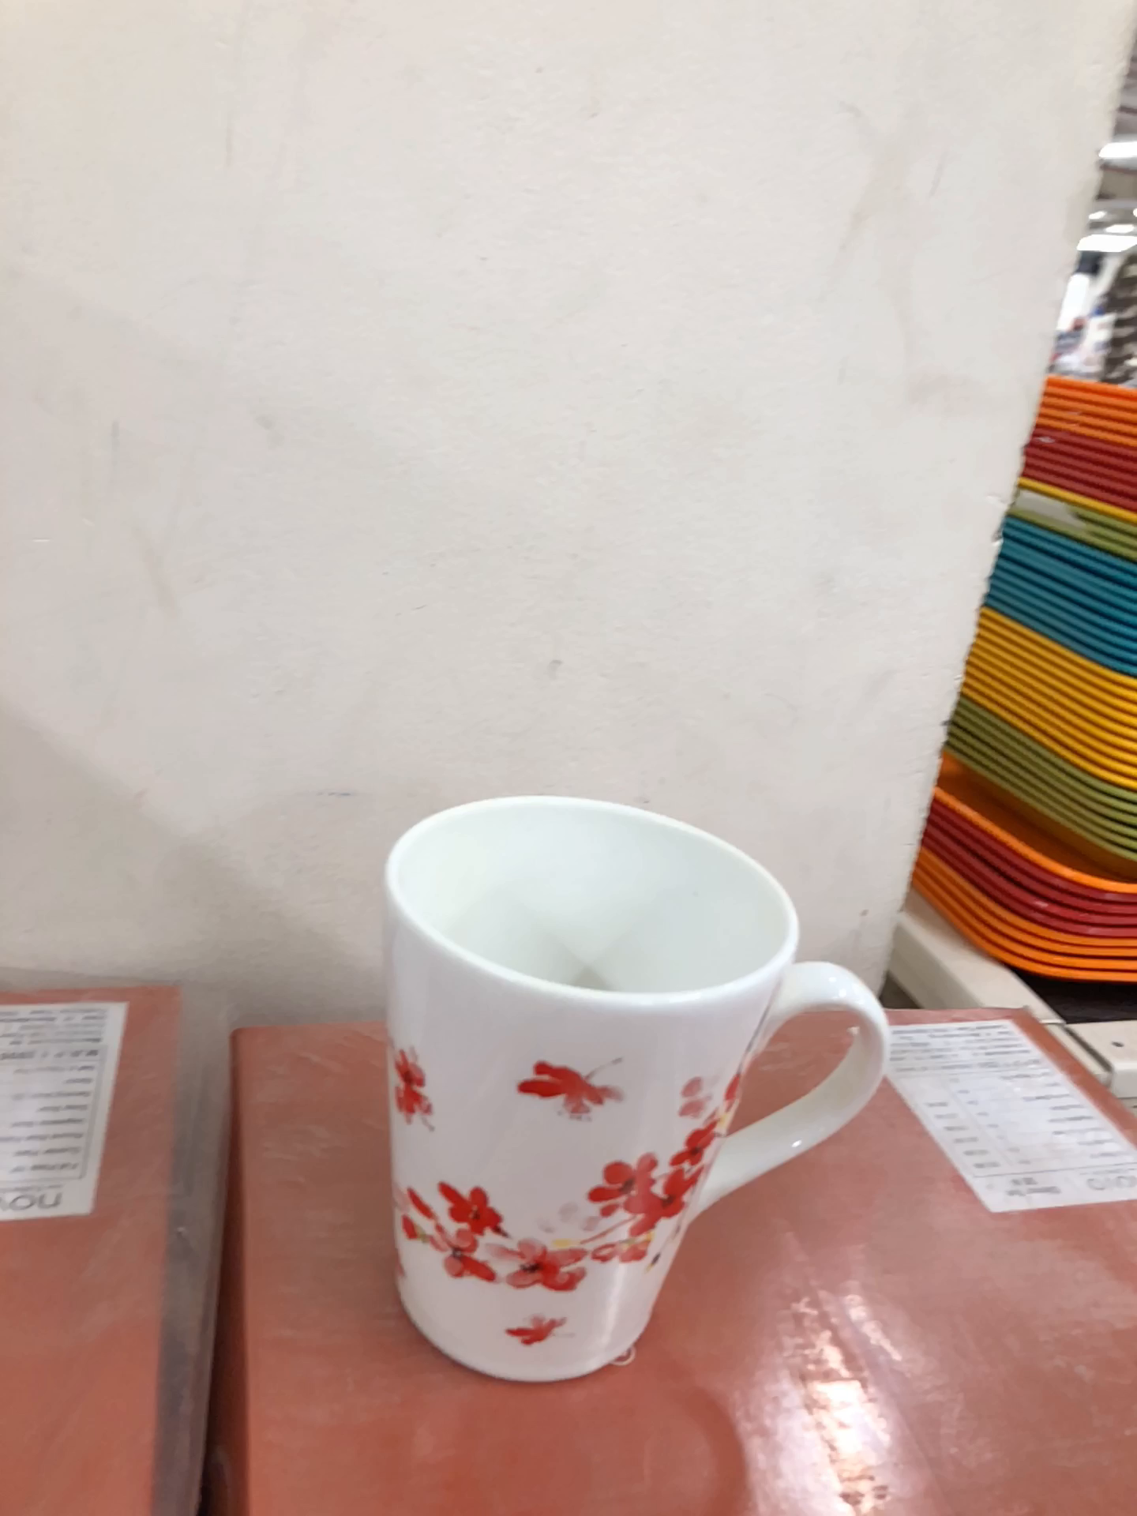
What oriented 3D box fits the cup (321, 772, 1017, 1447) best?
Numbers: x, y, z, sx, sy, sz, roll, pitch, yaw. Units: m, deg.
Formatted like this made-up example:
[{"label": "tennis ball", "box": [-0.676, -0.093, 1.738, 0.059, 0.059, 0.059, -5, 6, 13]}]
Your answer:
[{"label": "cup", "box": [0.012, 0.065, 0.268, 0.110, 0.099, 0.080, 0, 23, -21]}]
